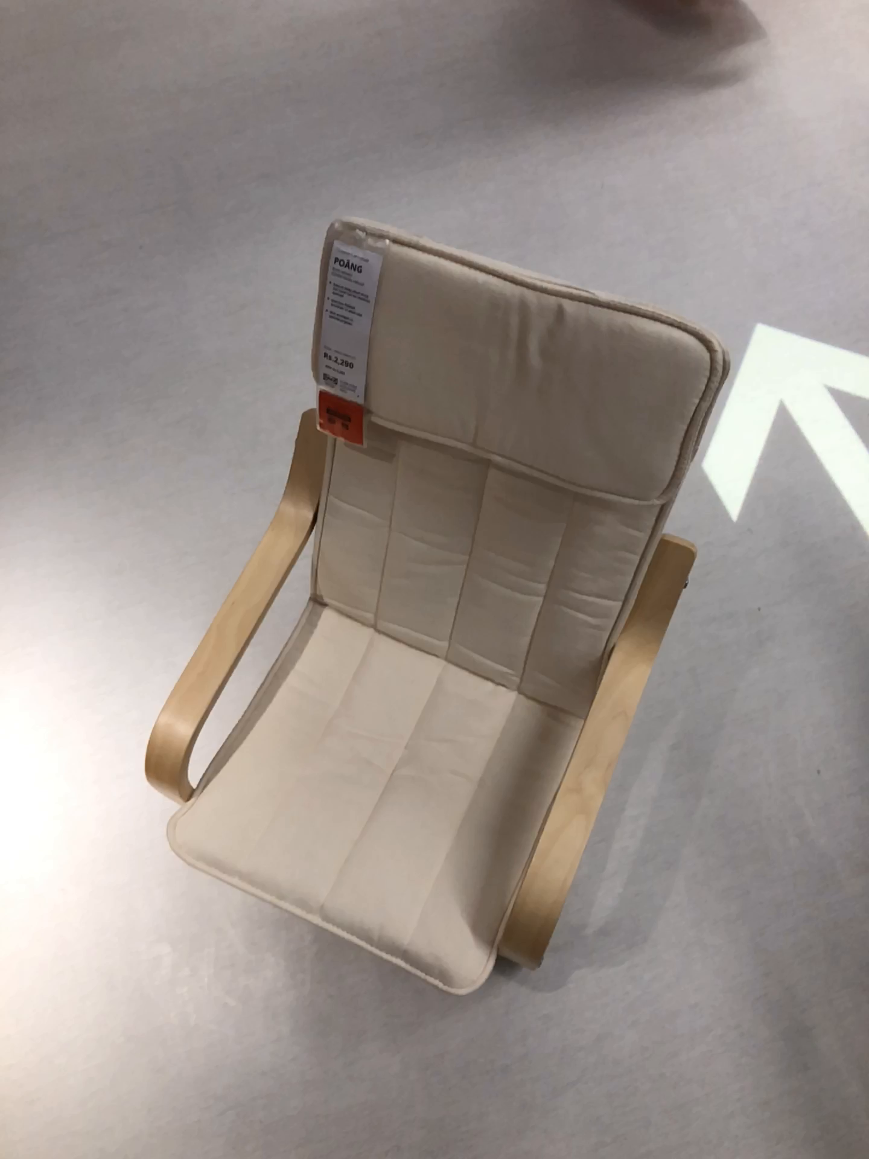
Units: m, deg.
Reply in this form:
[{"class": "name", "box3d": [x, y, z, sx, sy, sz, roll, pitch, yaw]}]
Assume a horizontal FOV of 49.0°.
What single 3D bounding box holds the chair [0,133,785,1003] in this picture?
[{"class": "chair", "box3d": [-0.062, 0.086, 1.134, 0.560, 0.837, 0.581, 21, 69, 12]}]
